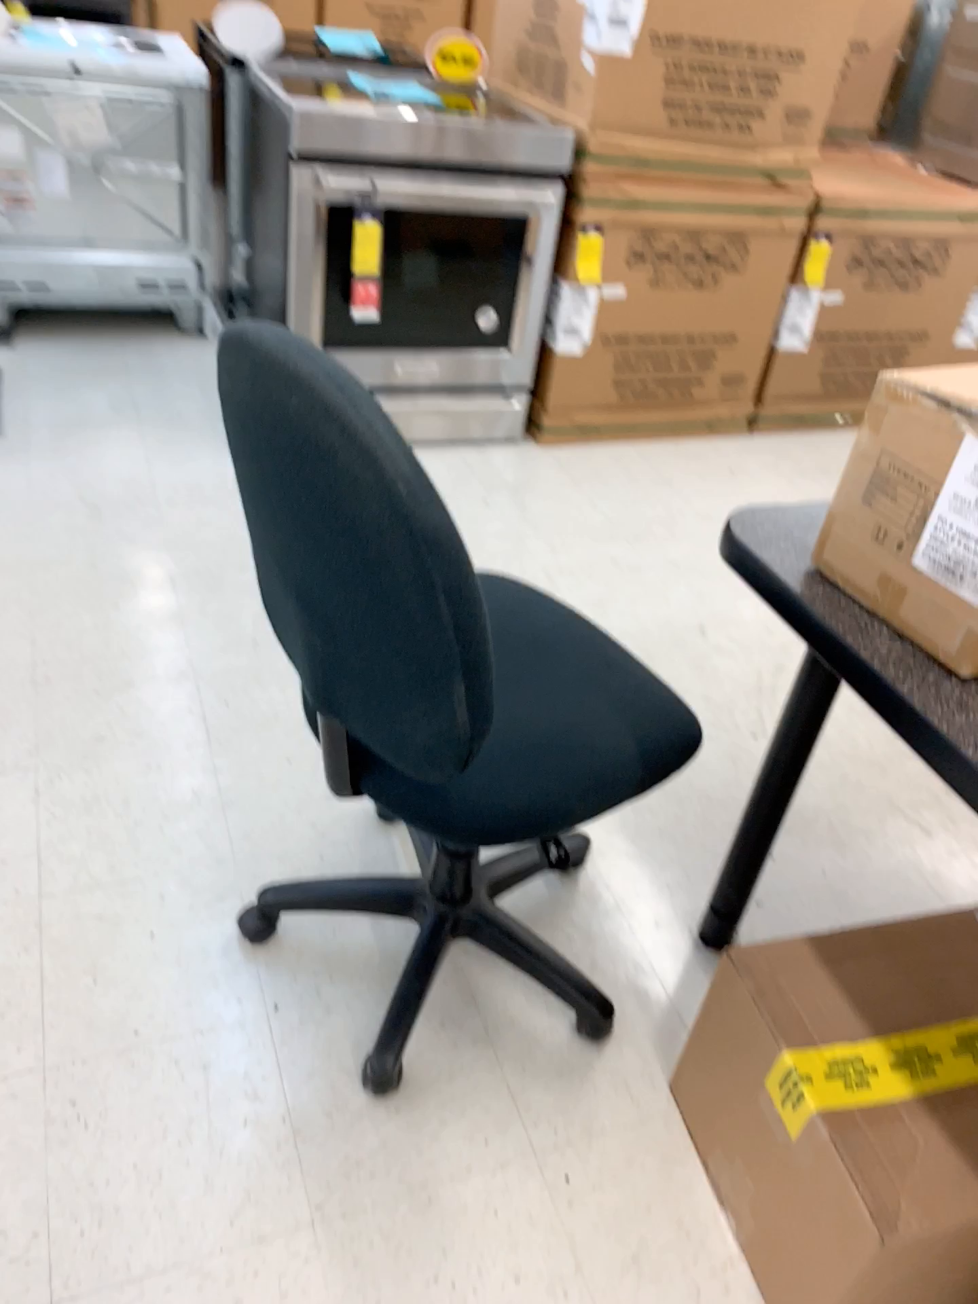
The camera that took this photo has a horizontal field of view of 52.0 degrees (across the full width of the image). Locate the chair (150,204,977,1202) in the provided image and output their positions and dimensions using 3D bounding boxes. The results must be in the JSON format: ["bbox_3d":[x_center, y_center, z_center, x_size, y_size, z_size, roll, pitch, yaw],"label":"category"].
[{"bbox_3d":[0.014,0.031,1.277,0.601,0.965,0.602,-20,44,-34],"label":"chair"}]
